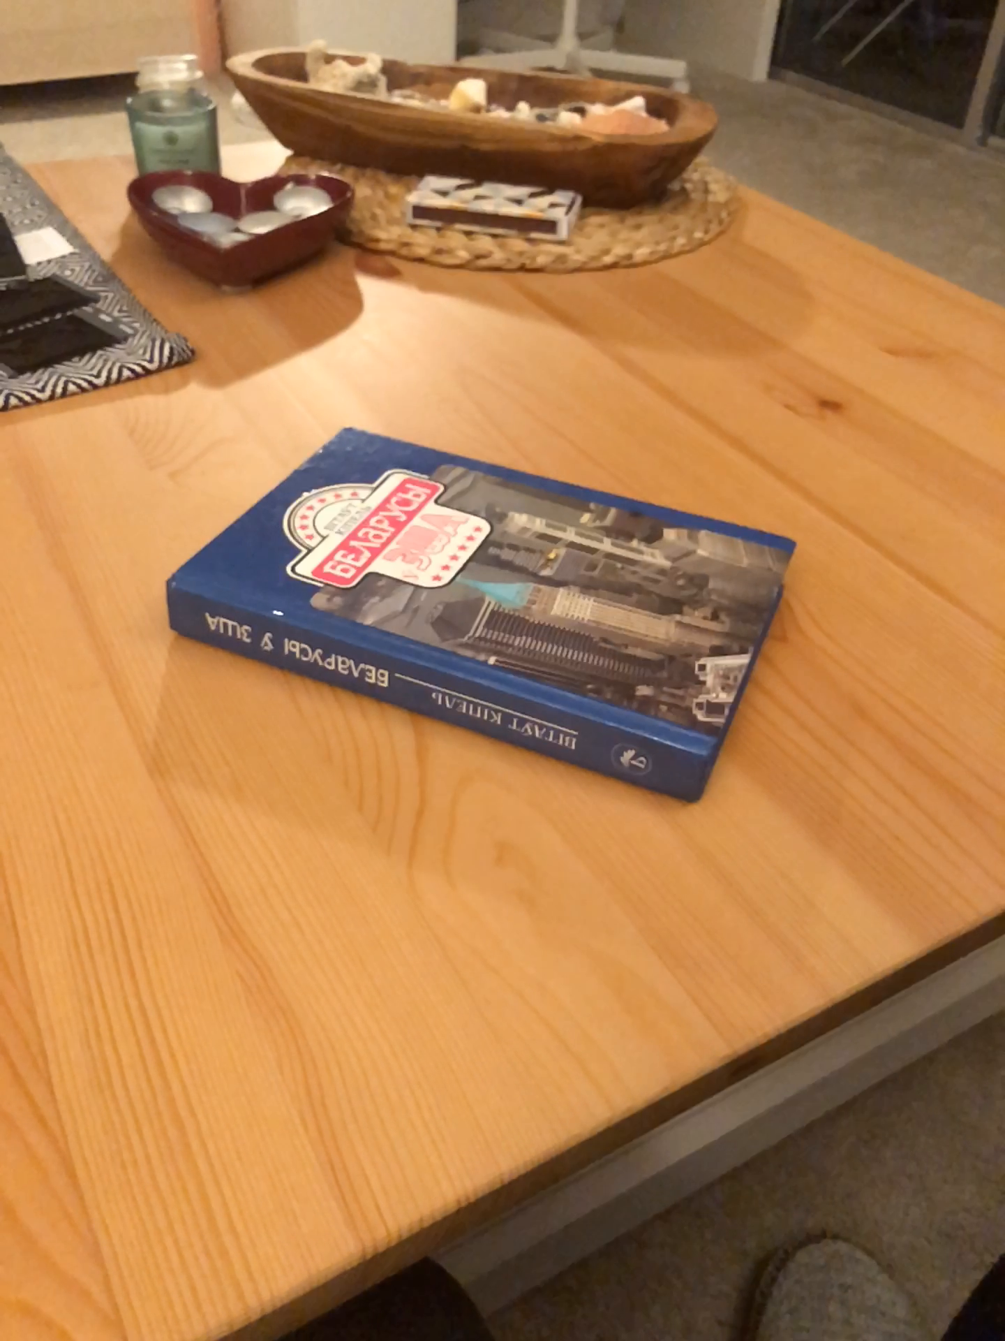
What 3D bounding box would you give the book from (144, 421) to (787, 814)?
[{"bbox_3d":[-0.009,-0.035,0.465,0.224,0.030,0.147,17,42,15],"label":"book"}]
